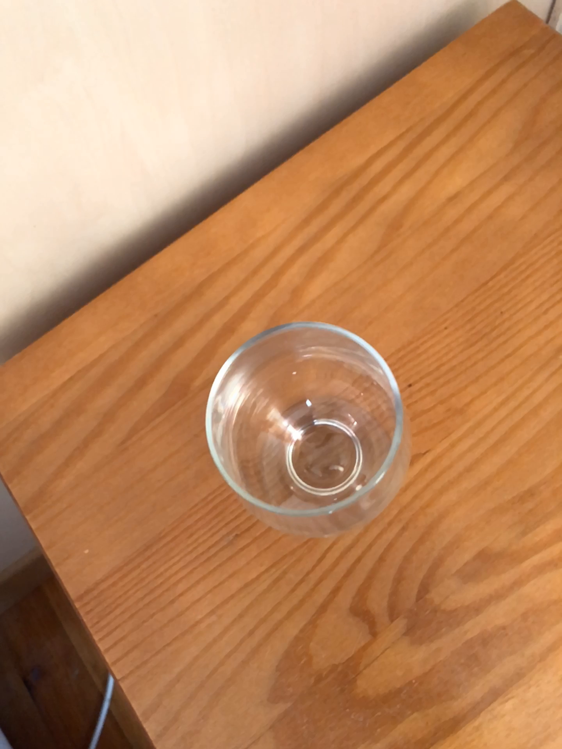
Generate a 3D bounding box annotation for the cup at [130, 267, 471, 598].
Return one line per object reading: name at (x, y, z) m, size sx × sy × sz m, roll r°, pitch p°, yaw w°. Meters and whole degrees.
cup at (0.012, 0.030, 0.251) m, size 0.082 × 0.107 × 0.078 m, roll -2°, pitch 72°, yaw 6°
